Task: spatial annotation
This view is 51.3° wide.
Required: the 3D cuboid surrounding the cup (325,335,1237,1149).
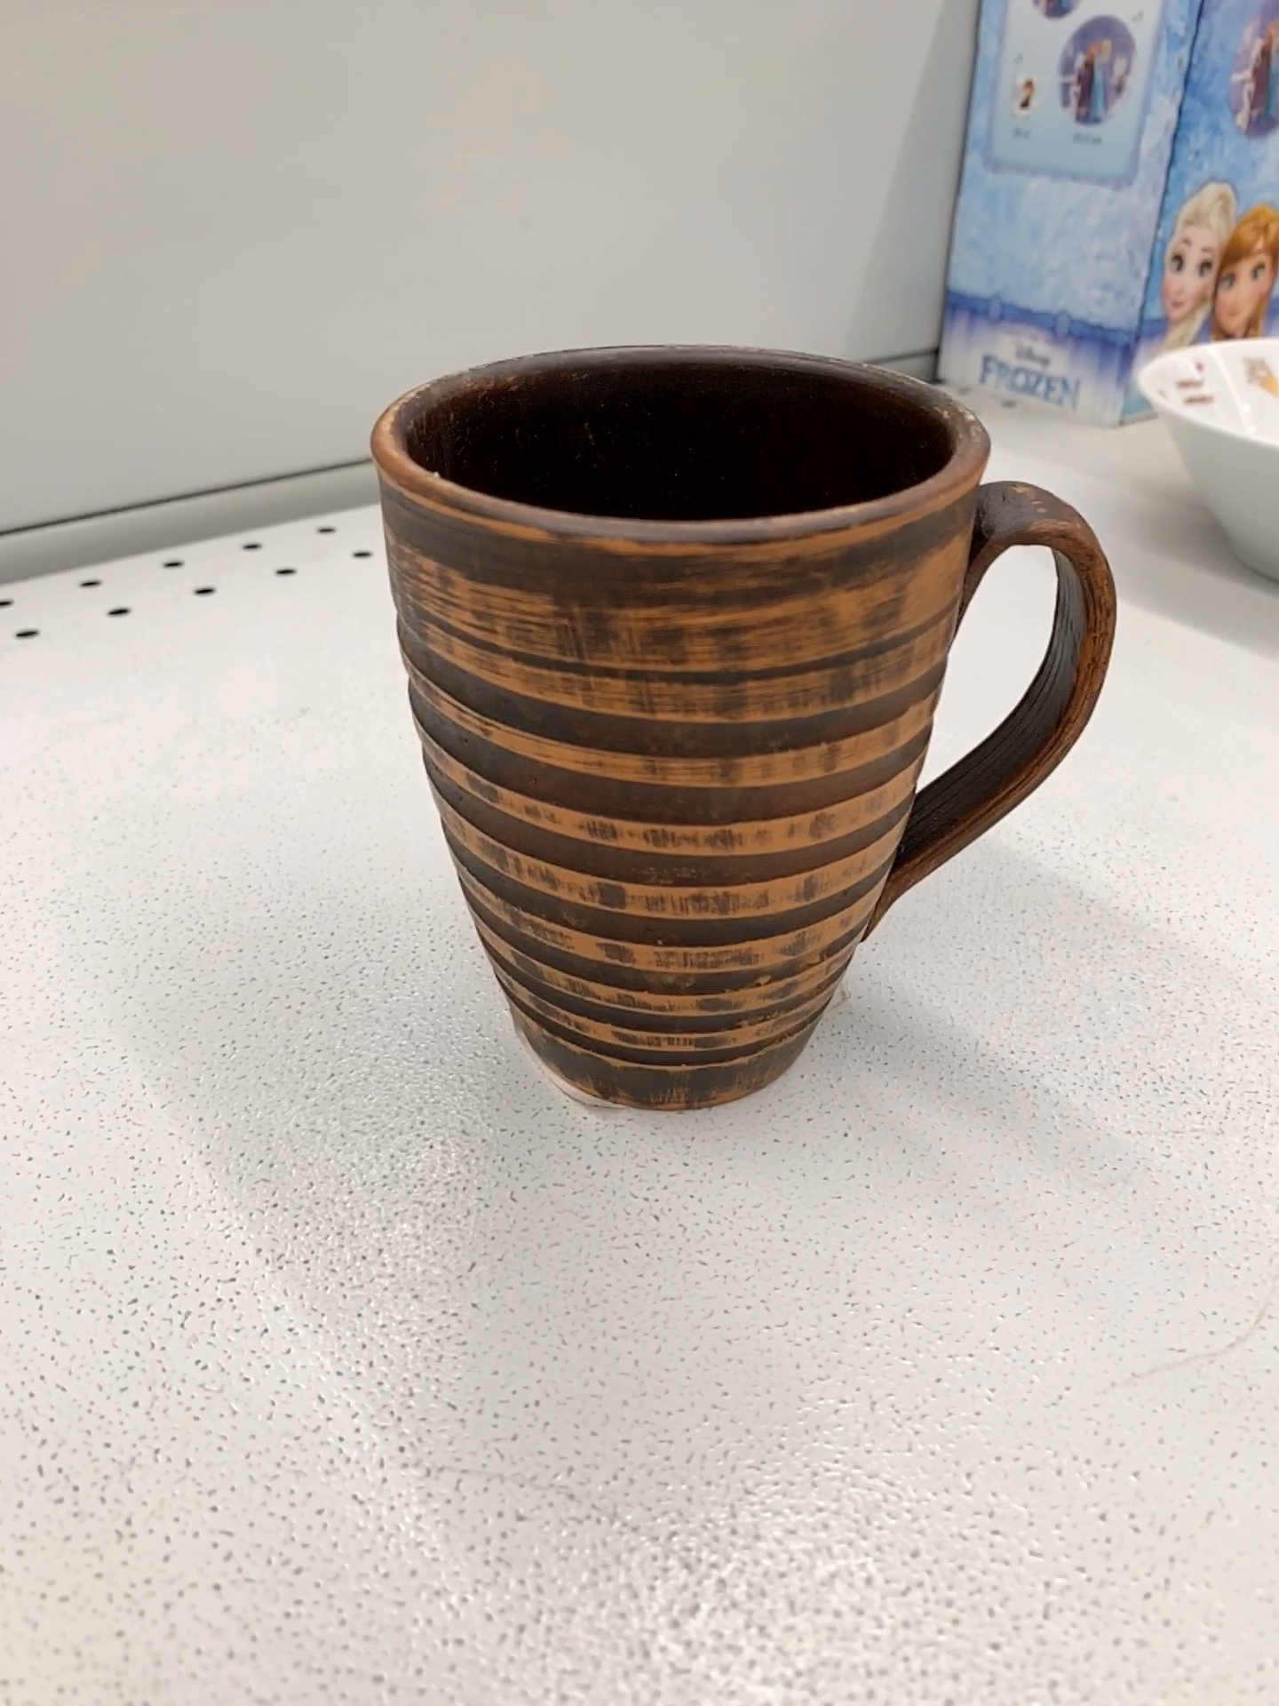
[{"bbox_3d":[0.011,-0.023,0.208,0.105,0.089,0.084,-5,34,-9],"label":"cup"}]
